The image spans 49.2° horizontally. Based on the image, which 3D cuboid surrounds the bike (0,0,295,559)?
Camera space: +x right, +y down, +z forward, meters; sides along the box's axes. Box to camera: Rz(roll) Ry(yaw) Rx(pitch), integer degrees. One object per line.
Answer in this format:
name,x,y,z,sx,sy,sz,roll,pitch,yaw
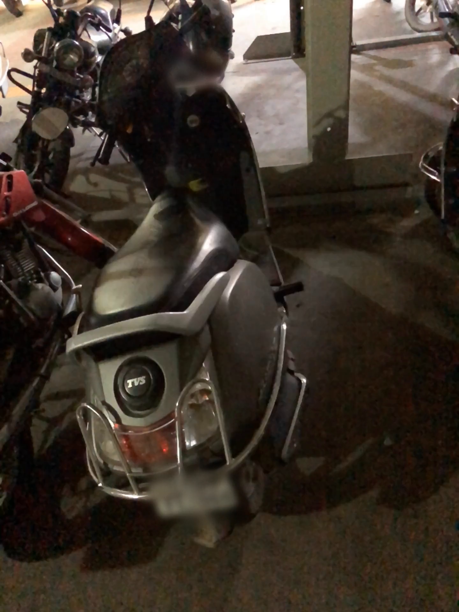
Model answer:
bike,-0.179,-0.159,1.591,0.602,1.094,1.387,-5,42,5
